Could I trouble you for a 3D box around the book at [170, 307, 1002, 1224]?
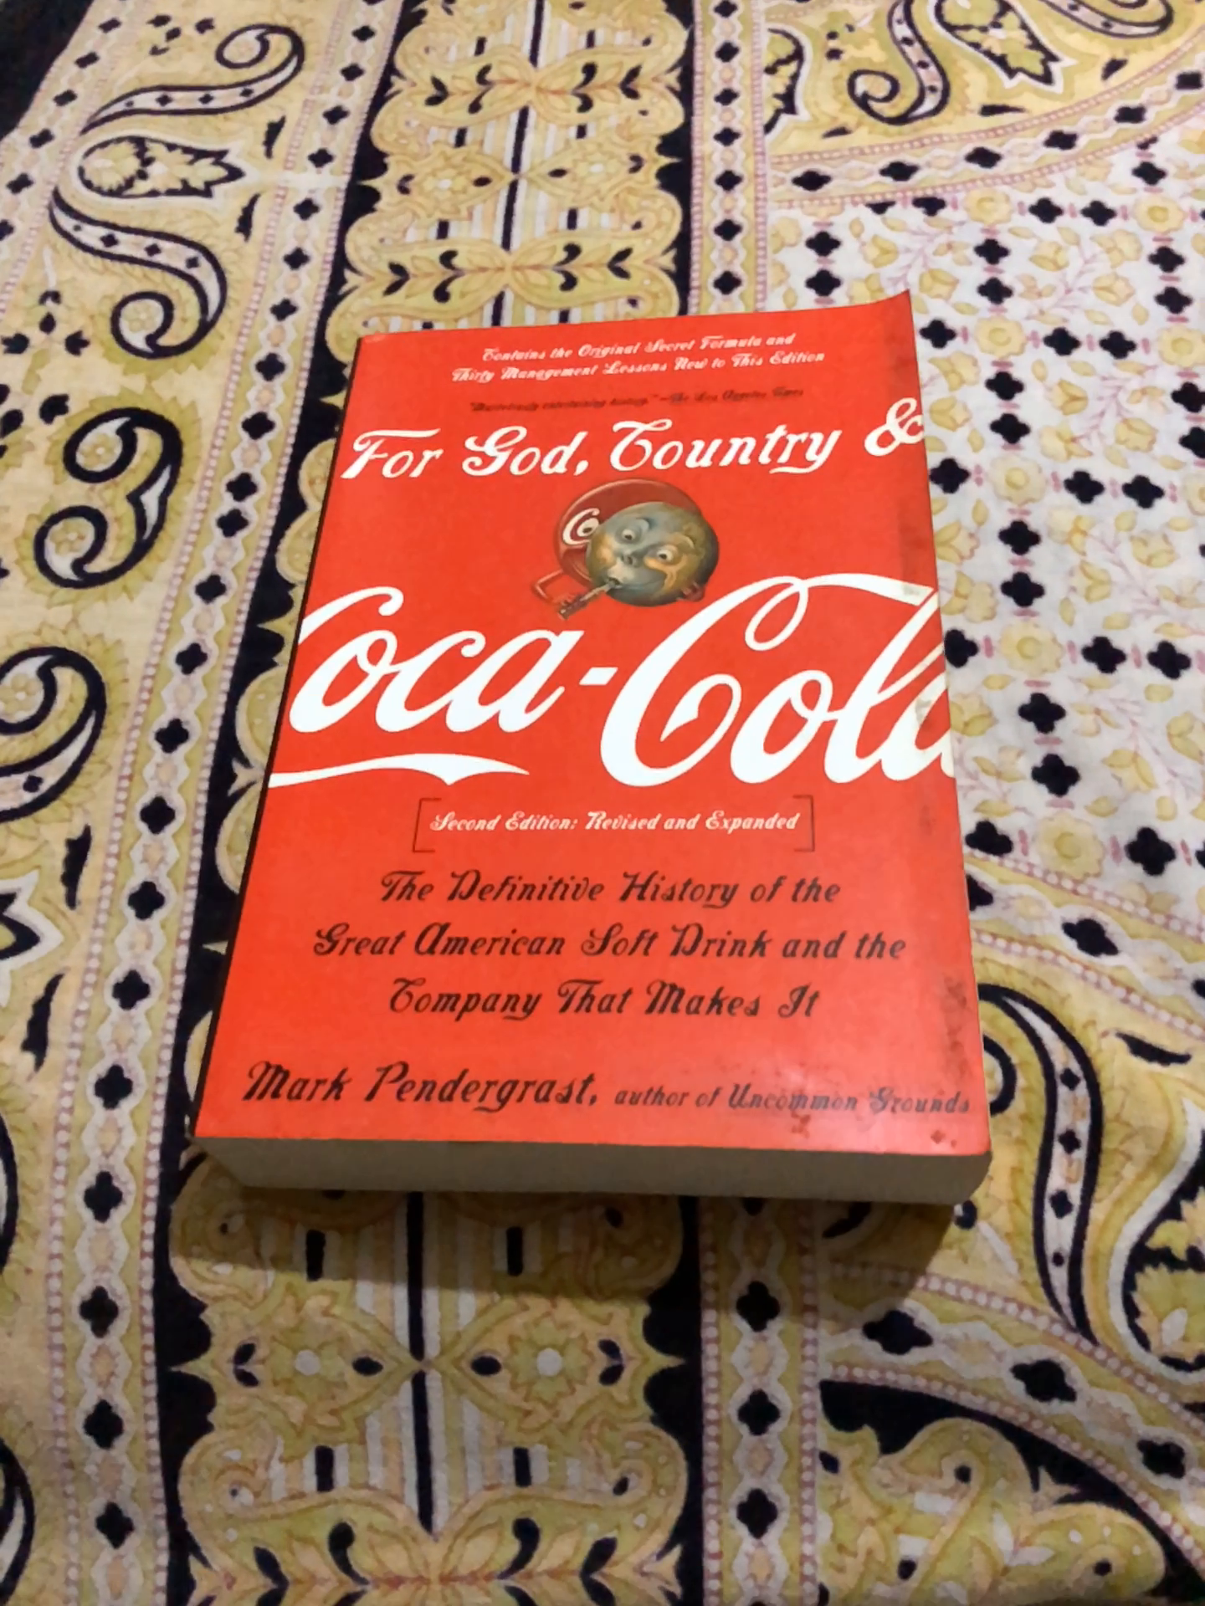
[{"bbox_3d":[0.002,-0.020,0.335,0.160,0.050,0.230,-1,60,7],"label":"book"}]
